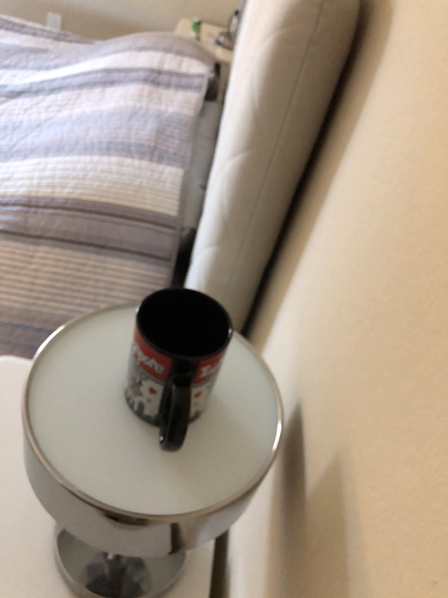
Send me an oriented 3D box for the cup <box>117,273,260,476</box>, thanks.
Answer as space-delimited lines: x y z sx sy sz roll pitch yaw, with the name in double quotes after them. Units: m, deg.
-0.038 0.063 0.426 0.090 0.100 0.131 5 42 -15 "cup"
